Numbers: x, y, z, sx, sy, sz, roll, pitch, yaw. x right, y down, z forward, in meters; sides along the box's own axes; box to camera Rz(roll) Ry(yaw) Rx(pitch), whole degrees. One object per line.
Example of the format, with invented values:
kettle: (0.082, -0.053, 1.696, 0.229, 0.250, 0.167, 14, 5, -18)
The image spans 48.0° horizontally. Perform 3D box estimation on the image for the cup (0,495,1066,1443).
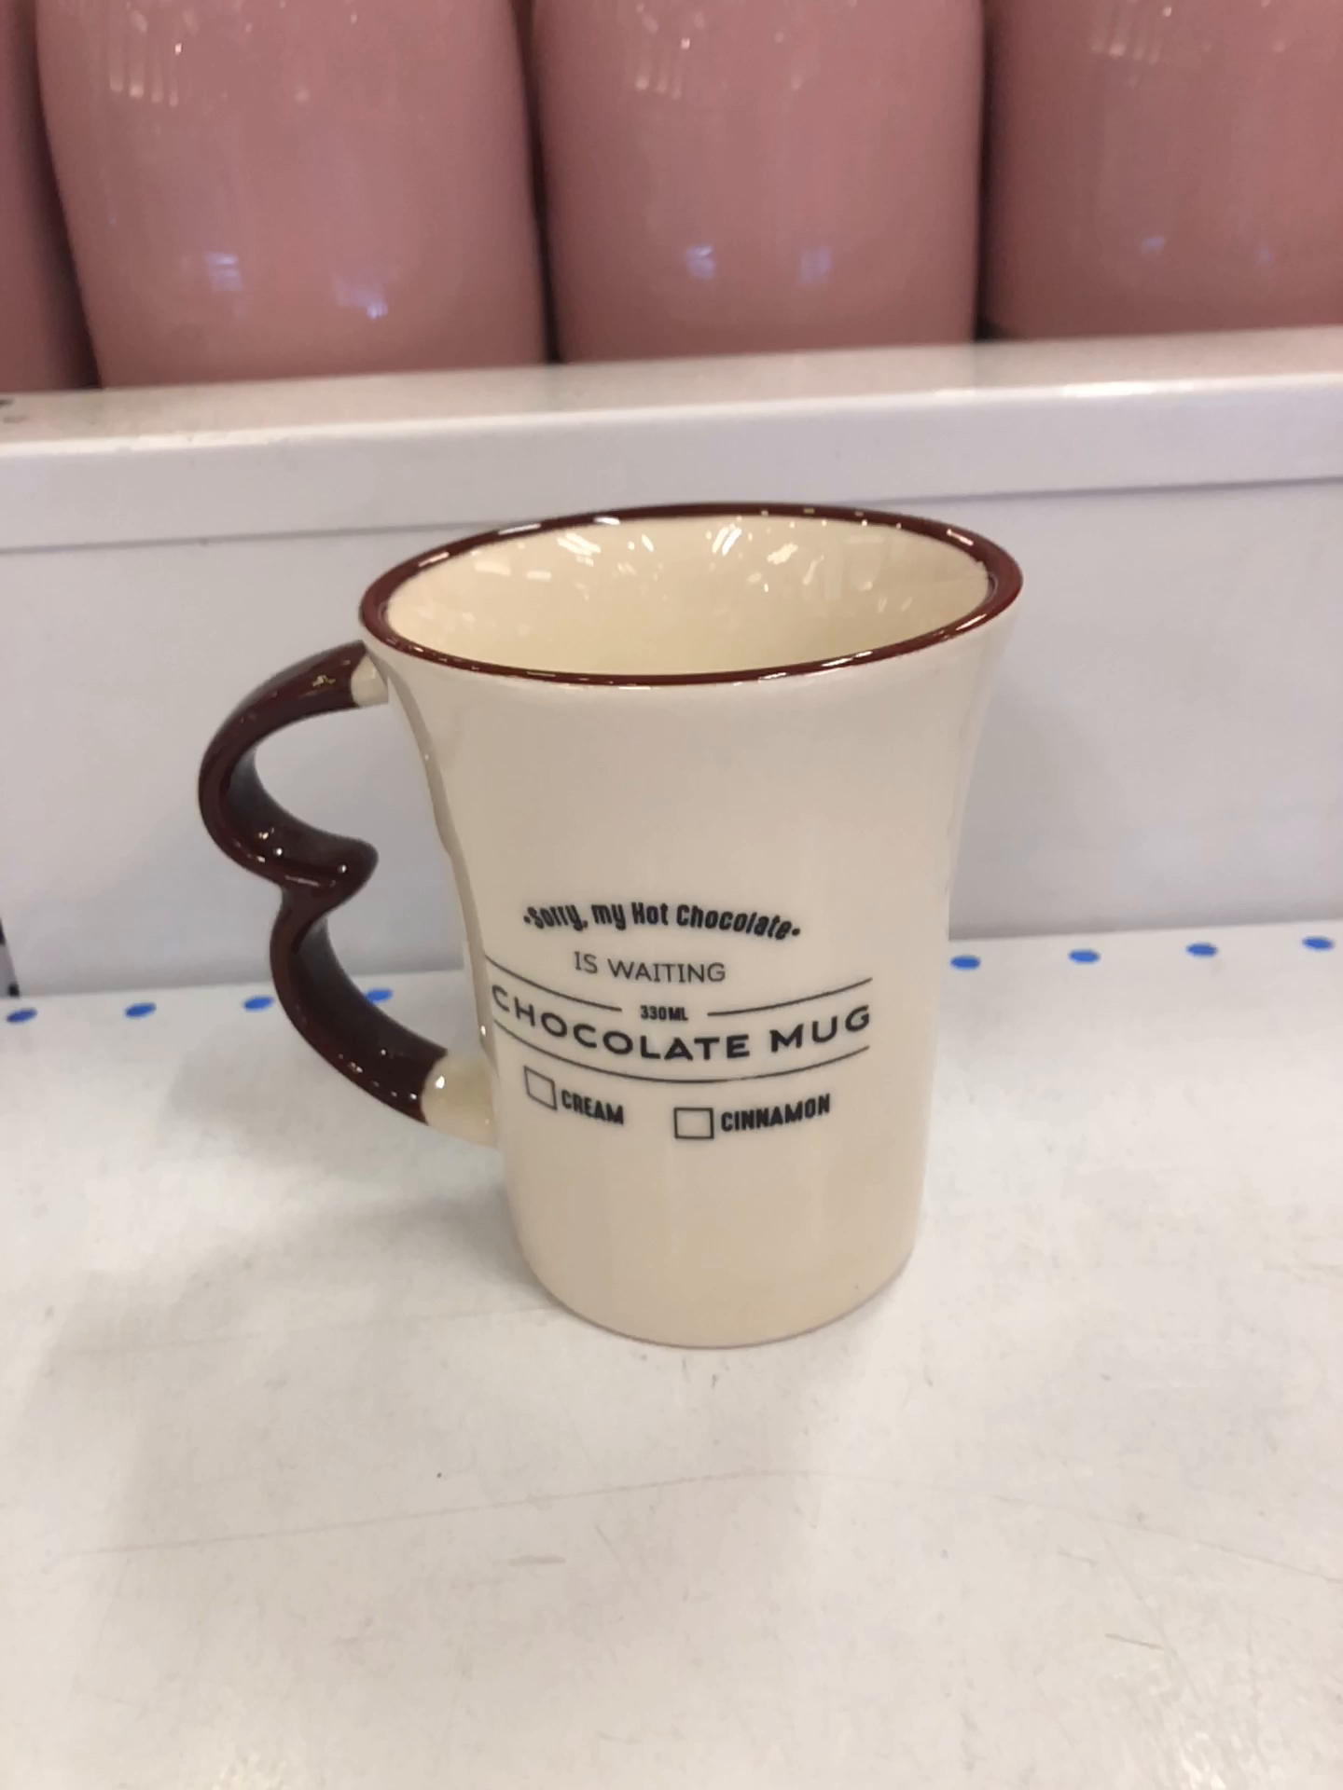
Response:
cup: (-0.014, 0.007, 0.228, 0.120, 0.109, 0.091, -1, 26, 2)
